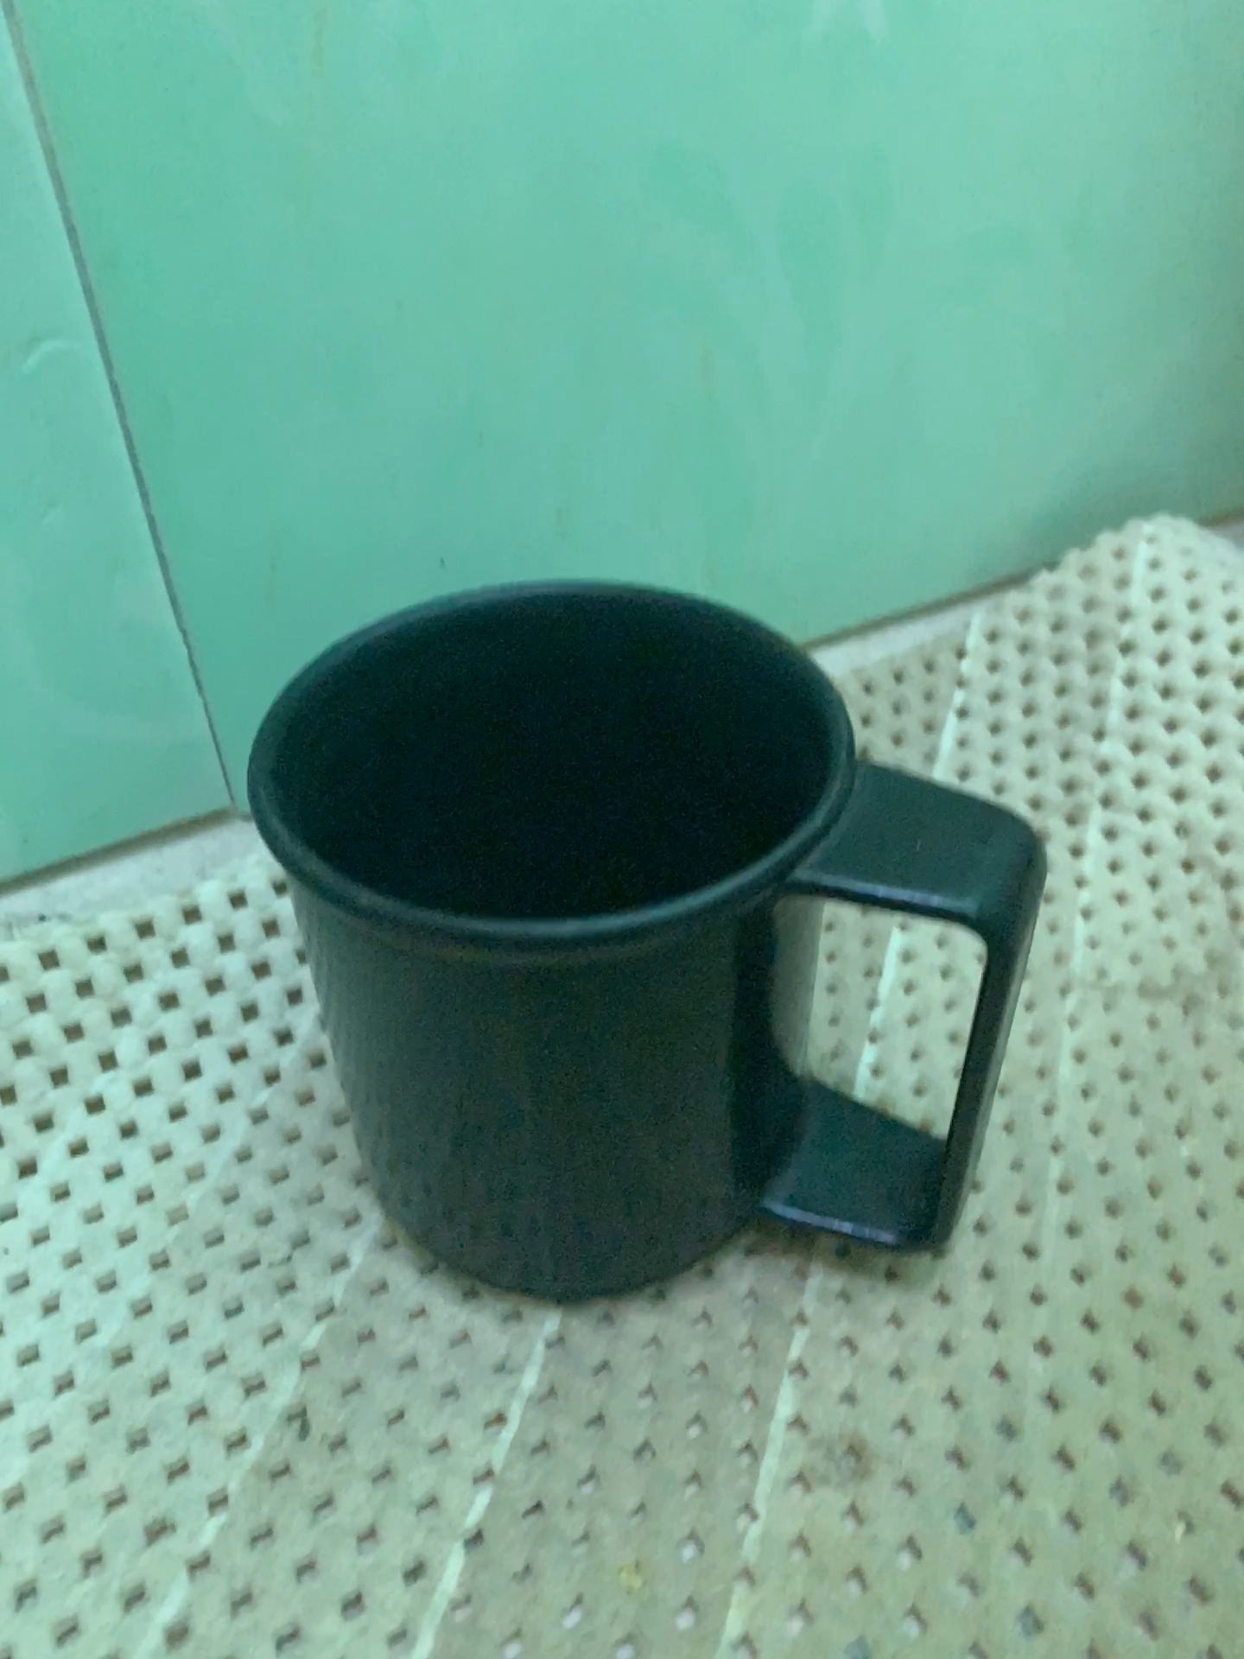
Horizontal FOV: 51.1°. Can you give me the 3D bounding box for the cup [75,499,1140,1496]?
[{"bbox_3d":[0.005,0.015,0.195,0.111,0.082,0.090,15,42,21],"label":"cup"}]
